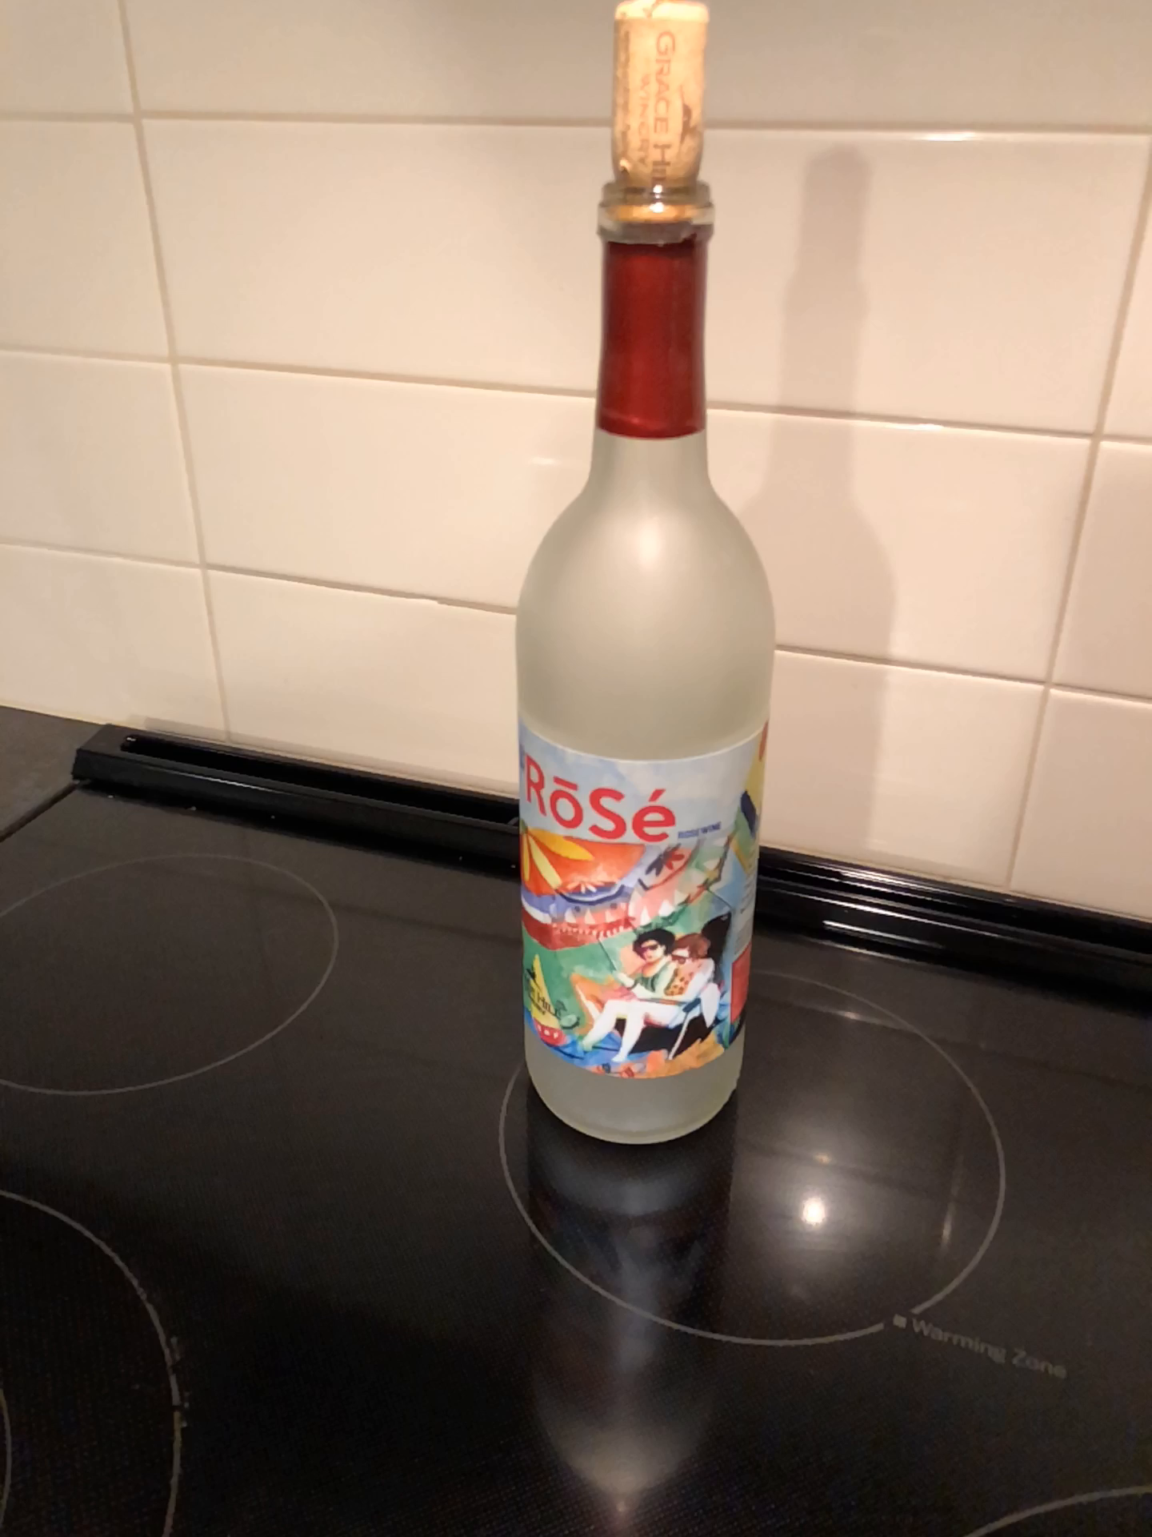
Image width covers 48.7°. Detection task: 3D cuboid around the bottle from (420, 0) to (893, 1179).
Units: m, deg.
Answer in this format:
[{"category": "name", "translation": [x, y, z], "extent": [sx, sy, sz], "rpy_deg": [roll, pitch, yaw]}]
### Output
[{"category": "bottle", "translation": [0.021, -0.041, 0.363], "extent": [0.080, 0.318, 0.080], "rpy_deg": [0, 28, 0]}]
